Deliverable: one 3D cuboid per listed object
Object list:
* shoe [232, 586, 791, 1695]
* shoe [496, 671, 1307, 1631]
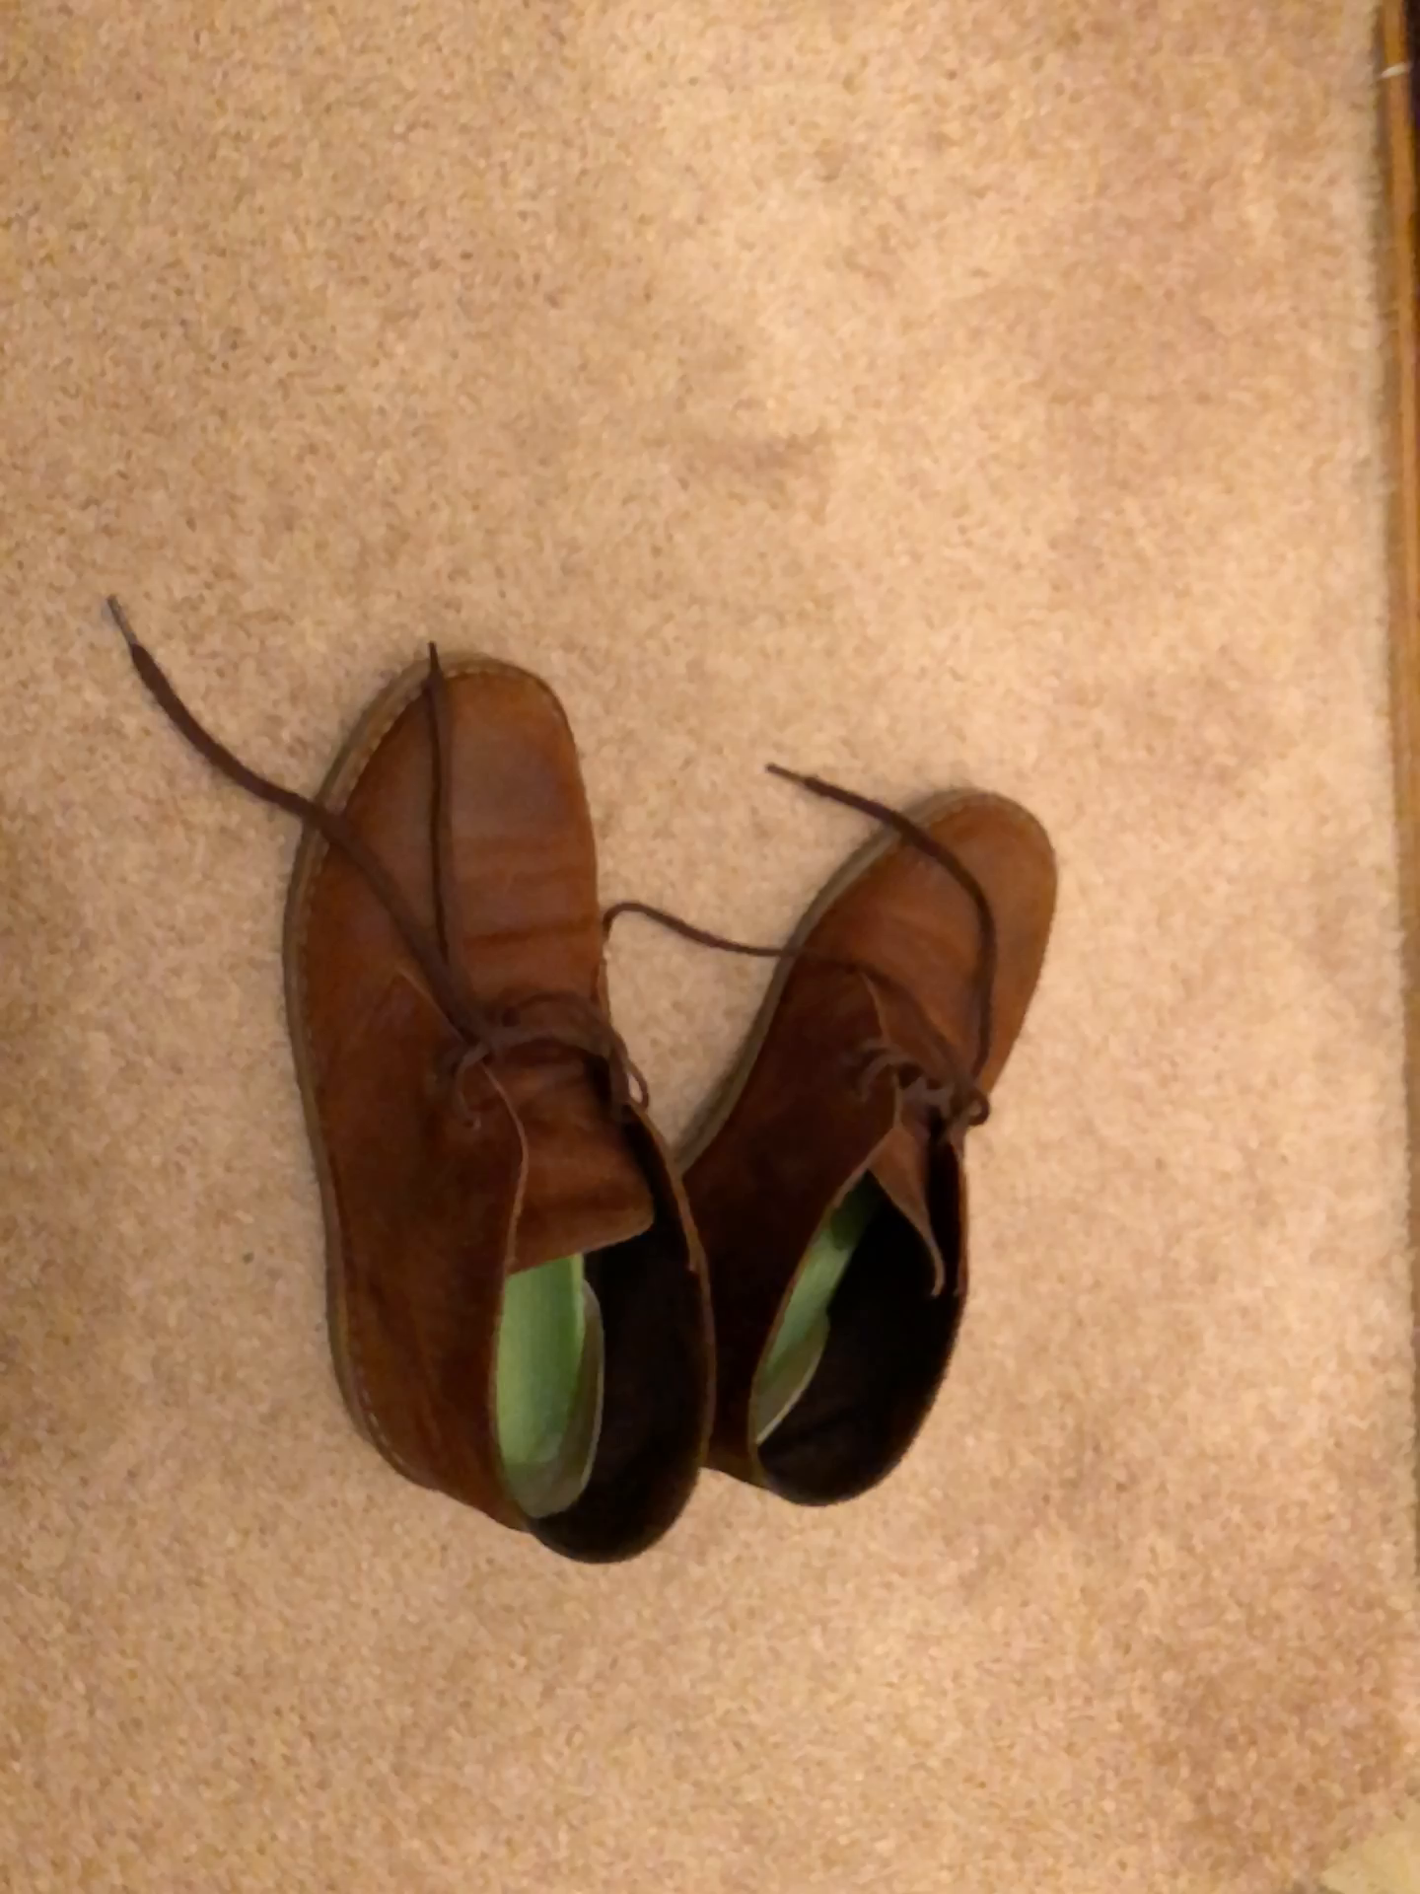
[{"bbox_3d":[-0.069,0.049,0.513,0.110,0.139,0.303,-8,96,-26],"label":"shoe"},{"bbox_3d":[0.069,0.061,0.582,0.110,0.139,0.303,37,76,-23],"label":"shoe"}]
